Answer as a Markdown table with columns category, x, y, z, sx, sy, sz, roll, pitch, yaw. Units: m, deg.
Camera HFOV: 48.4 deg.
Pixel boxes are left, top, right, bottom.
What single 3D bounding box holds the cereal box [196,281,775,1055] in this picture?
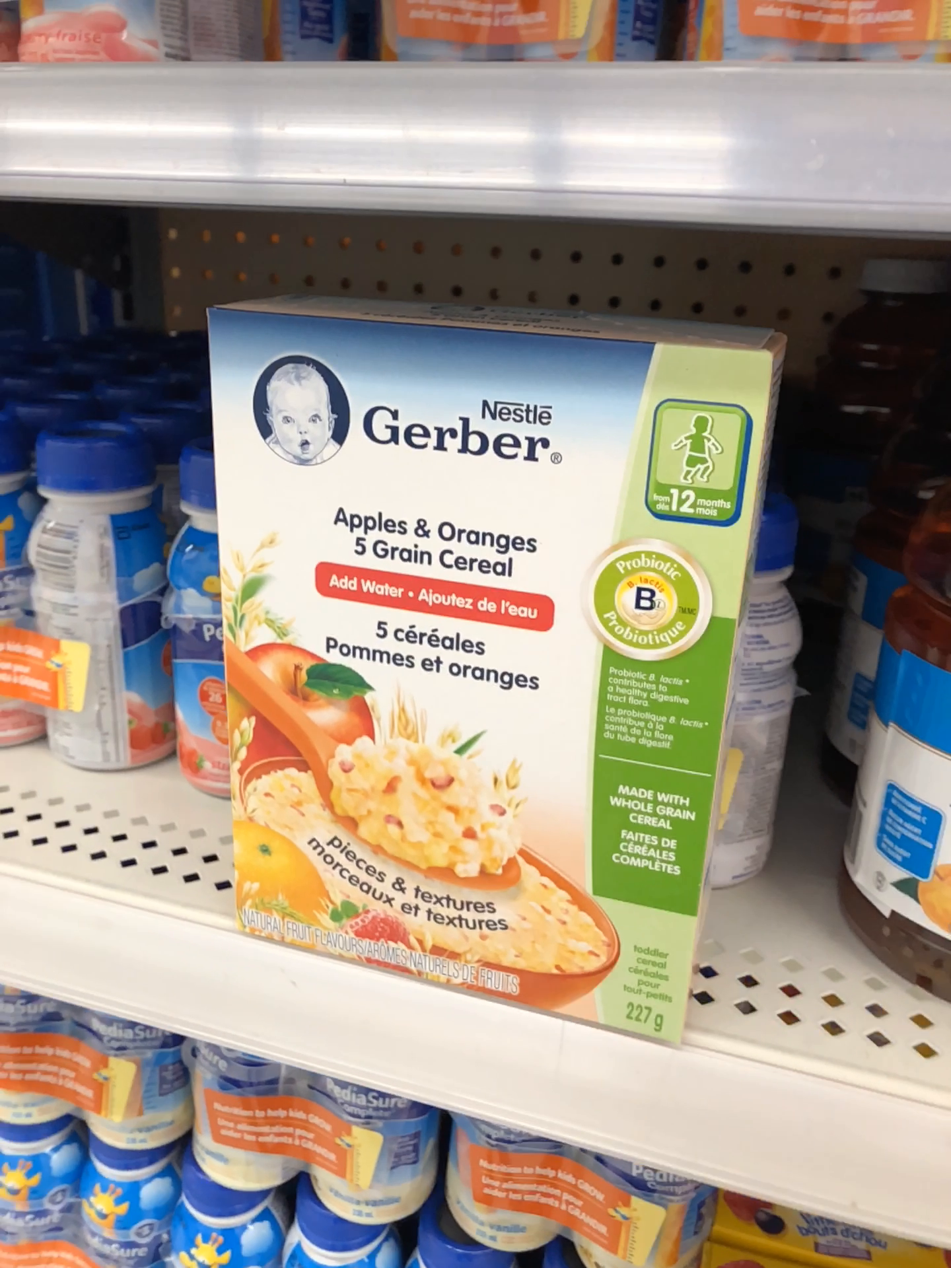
| category | x | y | z | sx | sy | sz | roll | pitch | yaw |
| --- | --- | --- | --- | --- | --- | --- | --- | --- | --- |
| cereal box | -0.001 | 0.008 | 0.307 | 0.140 | 0.199 | 0.050 | 9 | 22 | 15 |
